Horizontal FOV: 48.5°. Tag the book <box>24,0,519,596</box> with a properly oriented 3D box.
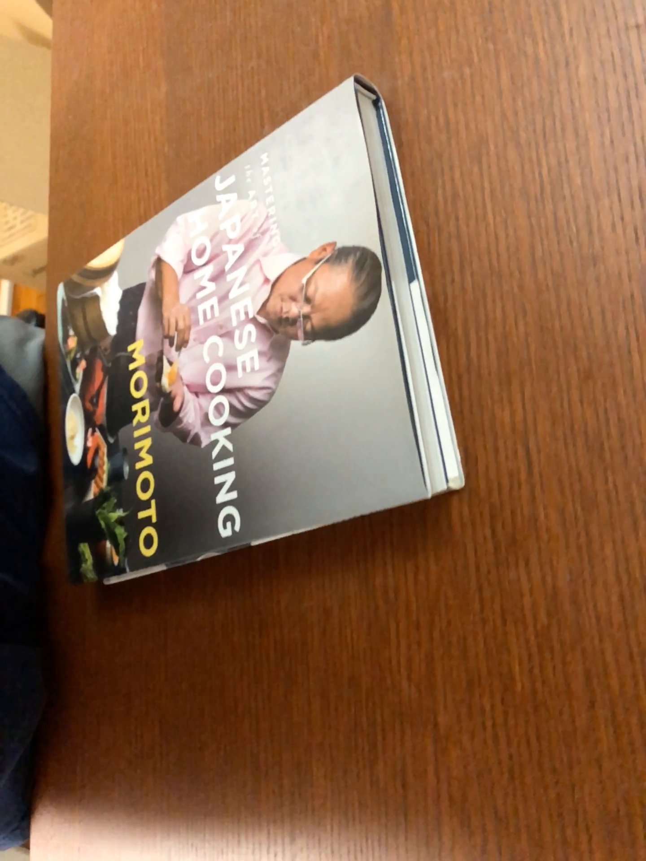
[{"bbox_3d":[-0.064,-0.044,0.382,0.301,0.030,0.220,-19,71,36],"label":"book"}]
